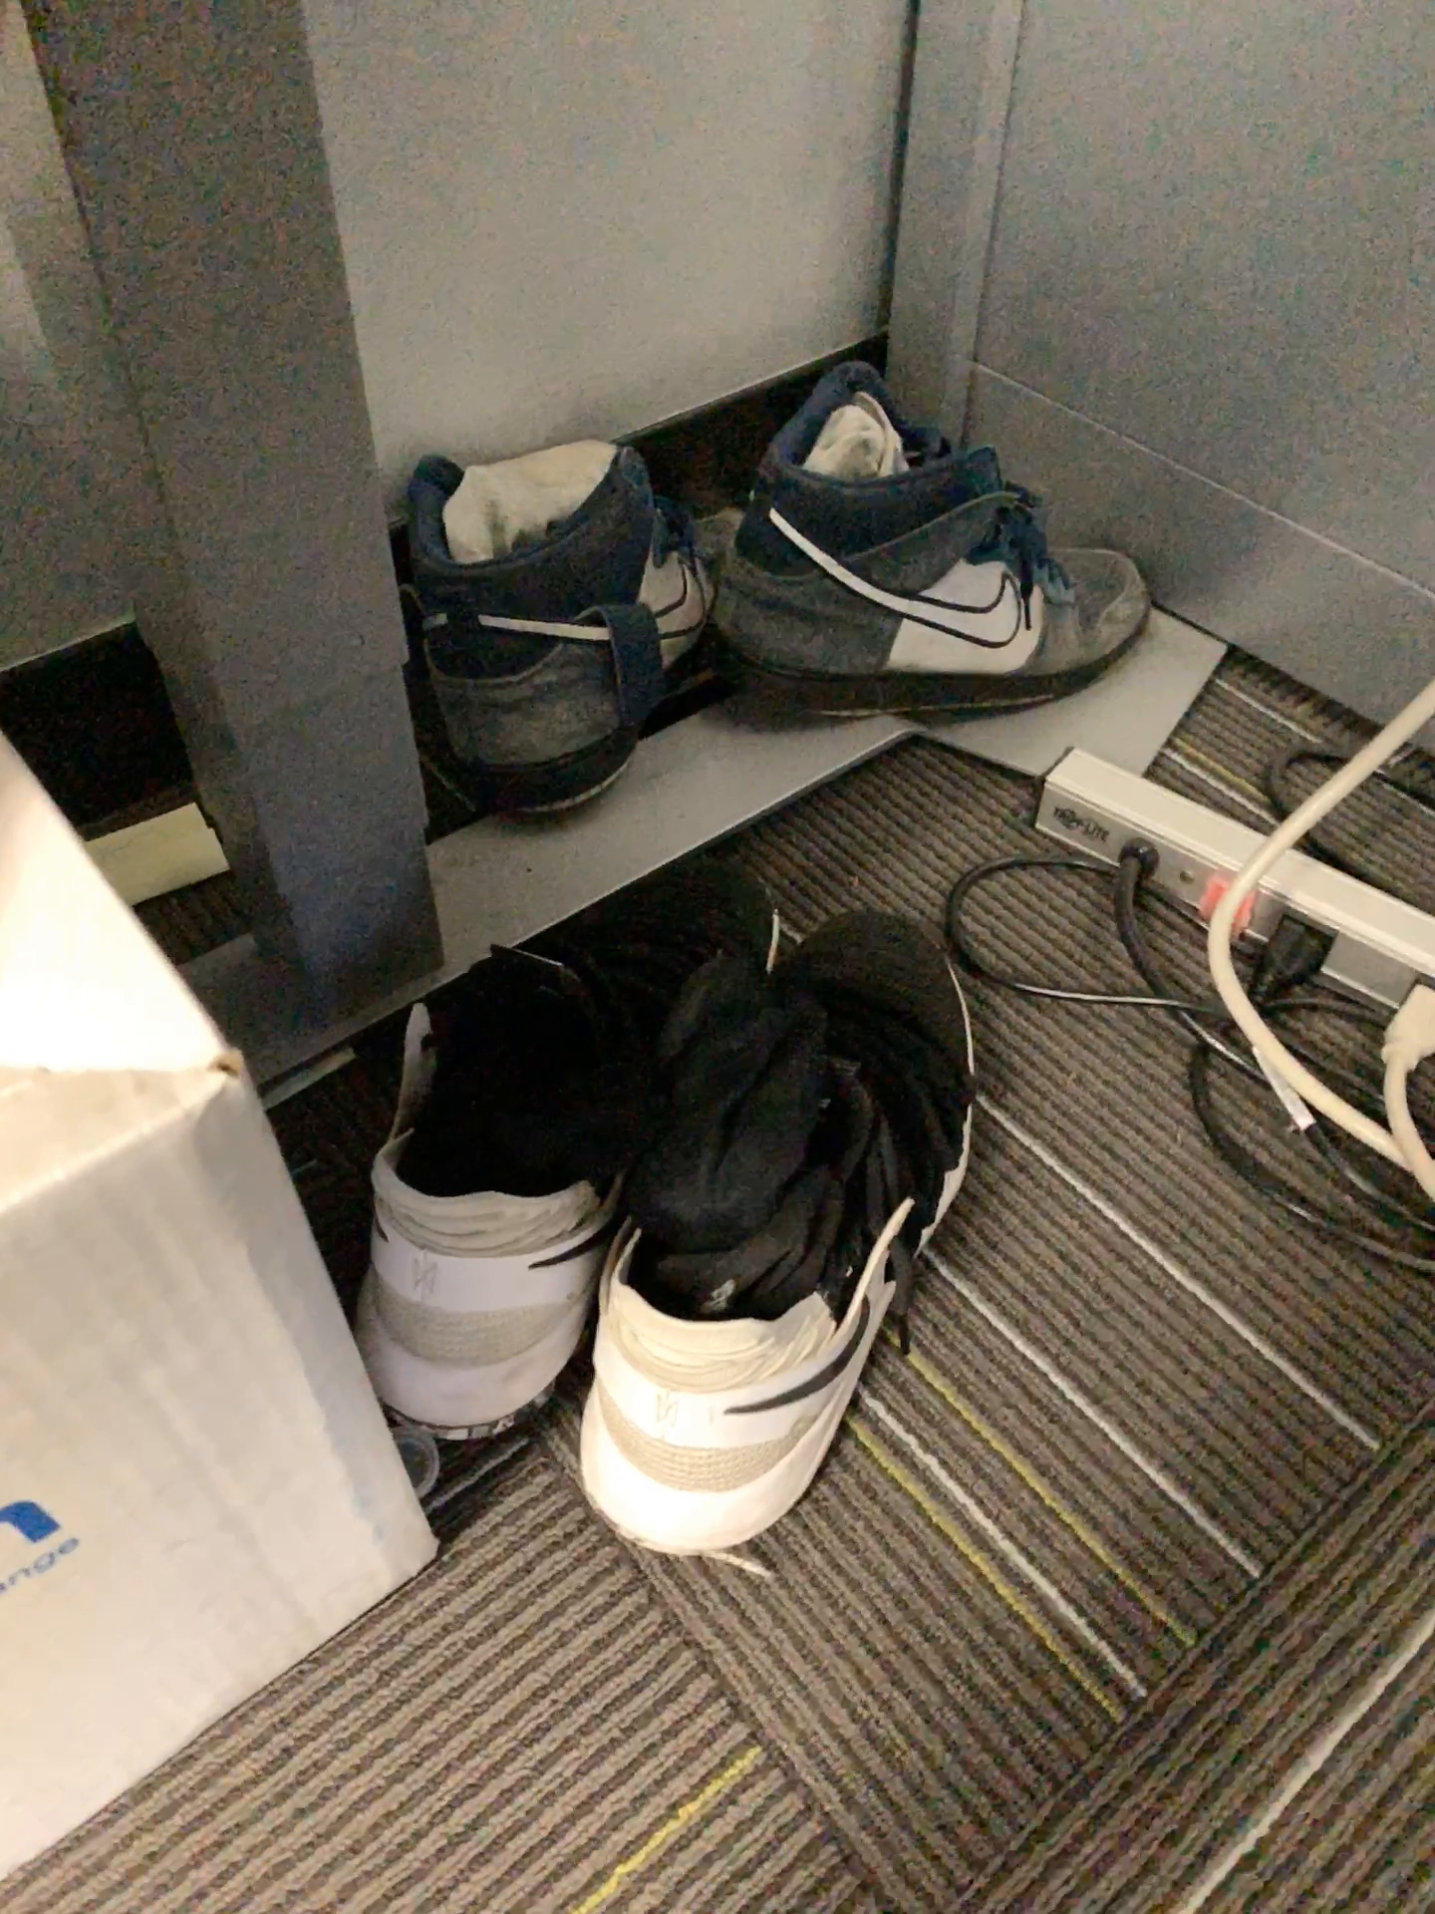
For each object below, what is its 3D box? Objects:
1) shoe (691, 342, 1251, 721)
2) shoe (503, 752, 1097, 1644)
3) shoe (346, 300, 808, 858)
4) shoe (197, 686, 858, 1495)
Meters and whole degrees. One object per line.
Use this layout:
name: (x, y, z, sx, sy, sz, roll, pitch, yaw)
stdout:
shoe: (0.135, -0.245, 0.855, 0.260, 0.159, 0.131, -4, 47, -15)
shoe: (0.042, 0.073, 0.547, 0.100, 0.129, 0.291, 19, 50, 15)
shoe: (-0.063, -0.232, 0.843, 0.130, 0.169, 0.331, 14, 42, 12)
shoe: (-0.055, 0.038, 0.598, 0.100, 0.129, 0.301, 22, 51, 17)
